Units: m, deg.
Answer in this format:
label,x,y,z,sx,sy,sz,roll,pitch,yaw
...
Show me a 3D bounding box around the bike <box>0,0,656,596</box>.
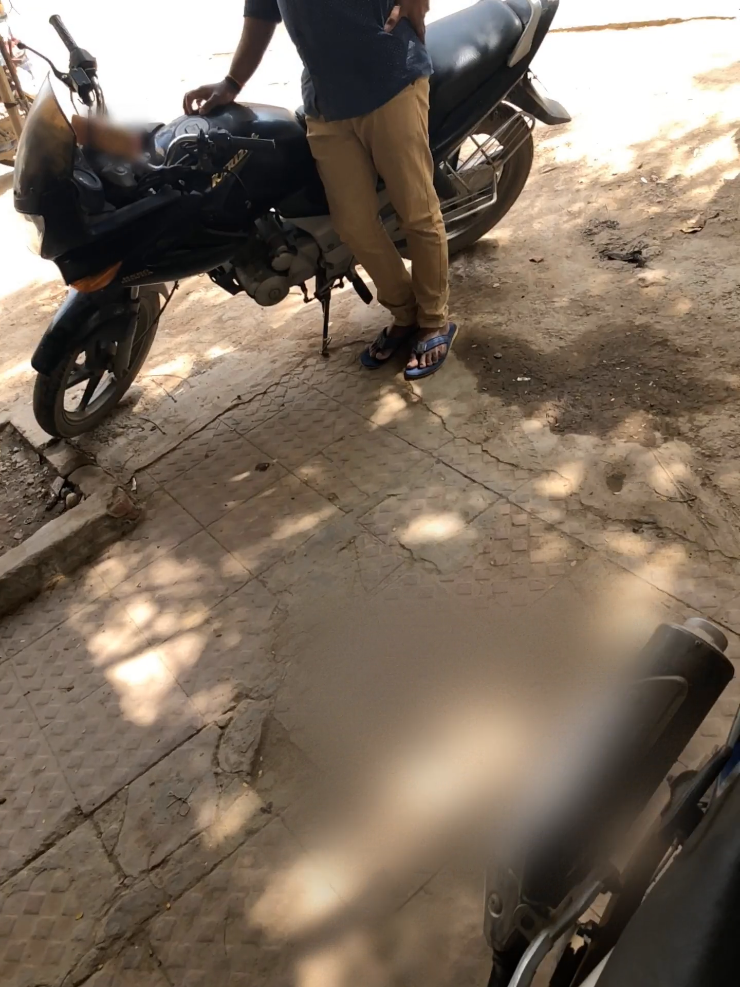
label,x,y,z,sx,sy,sz,roll,pitch,yaw
bike,-0.202,-0.825,2.259,1.894,1.178,0.800,-30,41,-14
